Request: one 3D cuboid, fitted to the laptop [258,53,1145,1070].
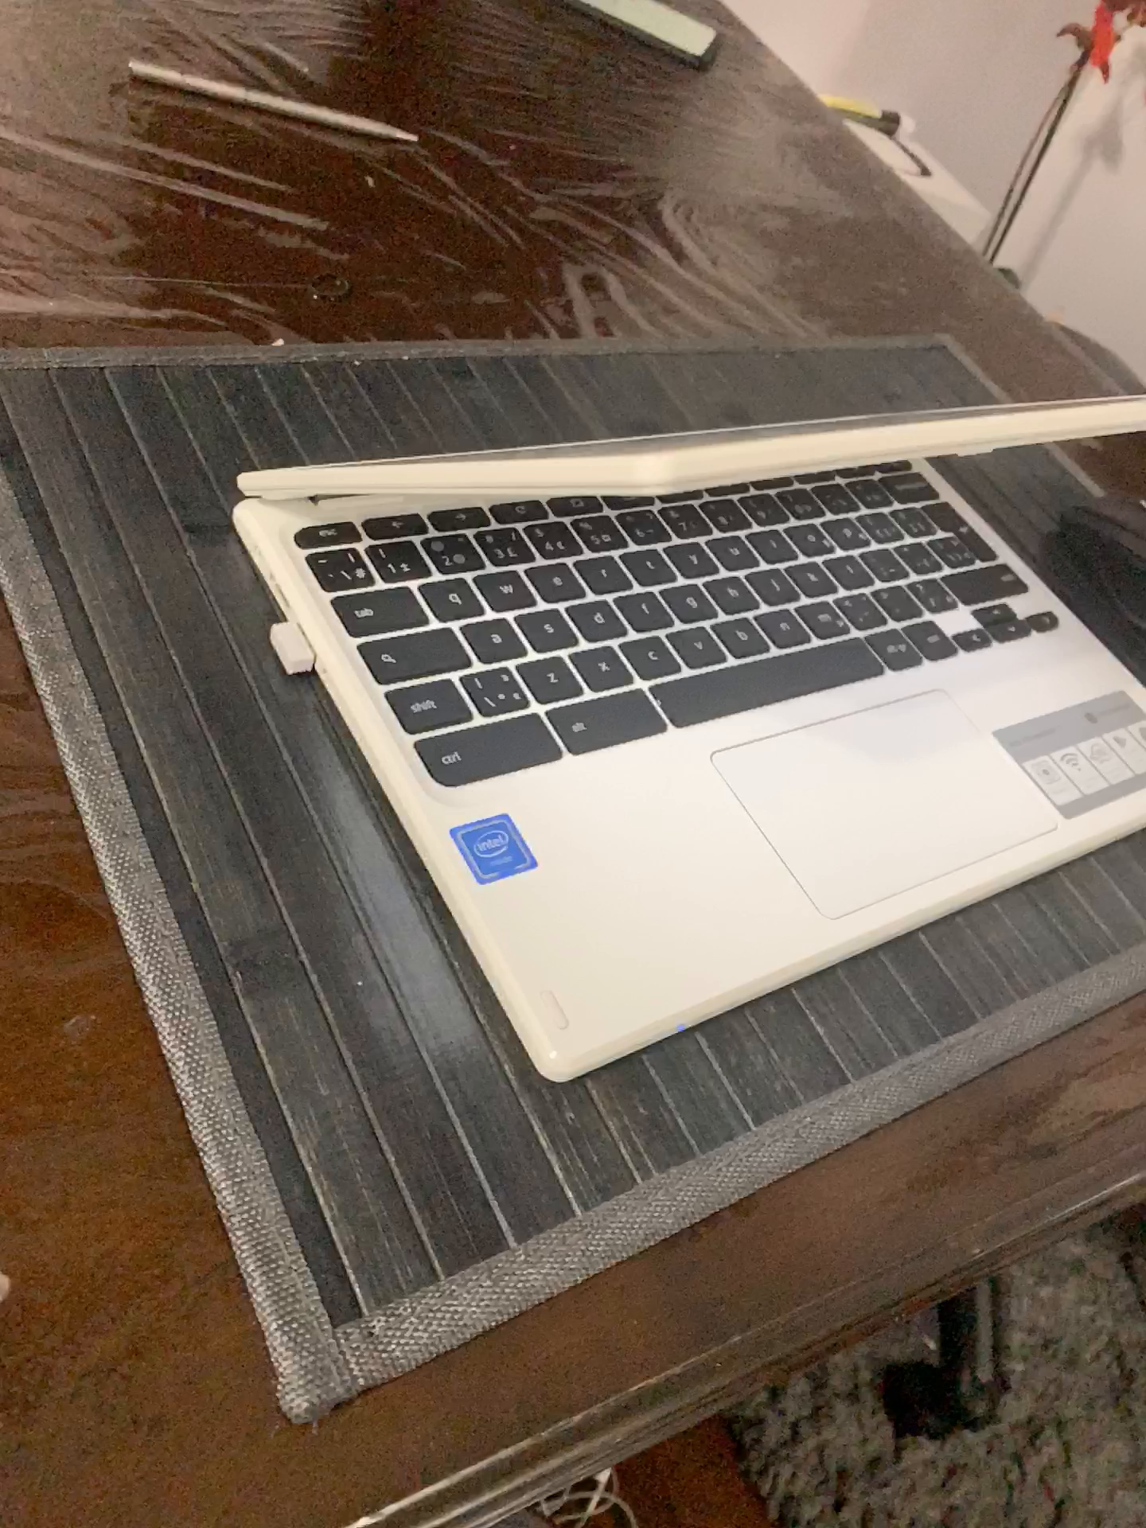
[{"bbox_3d":[0.089,-0.071,0.326,0.282,0.124,0.181,-15,59,-33],"label":"laptop"}]
